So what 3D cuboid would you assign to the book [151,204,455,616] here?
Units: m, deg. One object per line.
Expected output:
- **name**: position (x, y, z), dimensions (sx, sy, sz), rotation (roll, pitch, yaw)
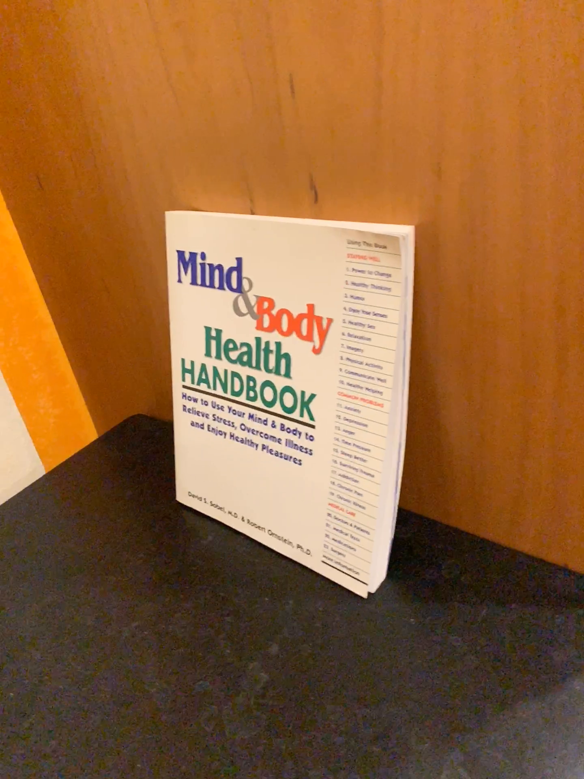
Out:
- **book**: position (-0.011, -0.001, 0.408), dimensions (0.211, 0.229, 0.040), rotation (17, 22, 36)
